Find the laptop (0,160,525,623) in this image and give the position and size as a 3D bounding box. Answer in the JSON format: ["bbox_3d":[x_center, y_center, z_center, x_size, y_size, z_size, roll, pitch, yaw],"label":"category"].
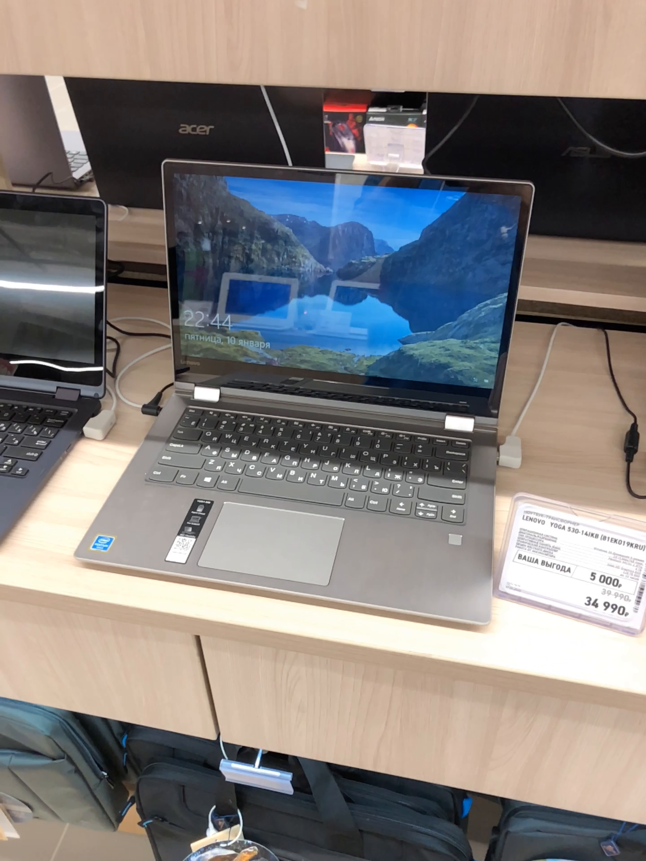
[{"bbox_3d":[-0.022,-0.054,0.572,0.311,0.205,0.288,7,39,8],"label":"laptop"}]
